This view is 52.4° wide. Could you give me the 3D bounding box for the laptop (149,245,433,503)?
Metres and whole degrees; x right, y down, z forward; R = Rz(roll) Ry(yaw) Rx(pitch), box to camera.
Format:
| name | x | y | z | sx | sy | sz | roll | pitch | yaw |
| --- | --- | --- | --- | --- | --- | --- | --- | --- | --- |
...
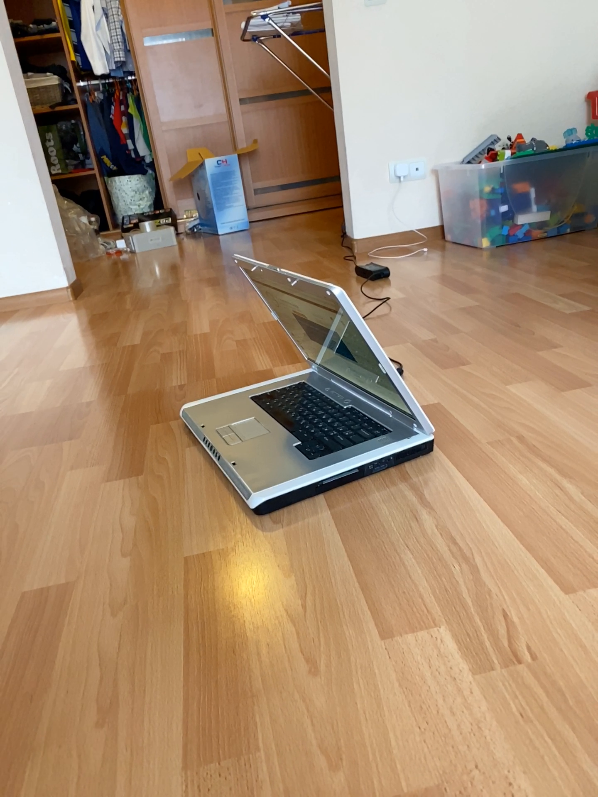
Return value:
| name | x | y | z | sx | sy | sz | roll | pitch | yaw |
| --- | --- | --- | --- | --- | --- | --- | --- | --- | --- |
| laptop | -0.030 | -0.074 | 0.930 | 0.273 | 0.238 | 0.388 | -17 | 23 | -20 |
